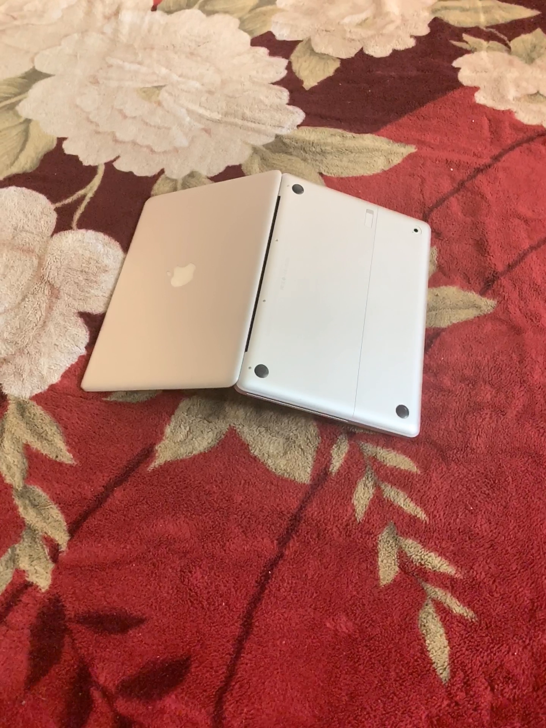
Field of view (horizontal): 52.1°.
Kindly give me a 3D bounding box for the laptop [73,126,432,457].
[{"bbox_3d":[0.011,-0.092,0.703,0.390,0.077,0.317,15,63,-9],"label":"laptop"}]
